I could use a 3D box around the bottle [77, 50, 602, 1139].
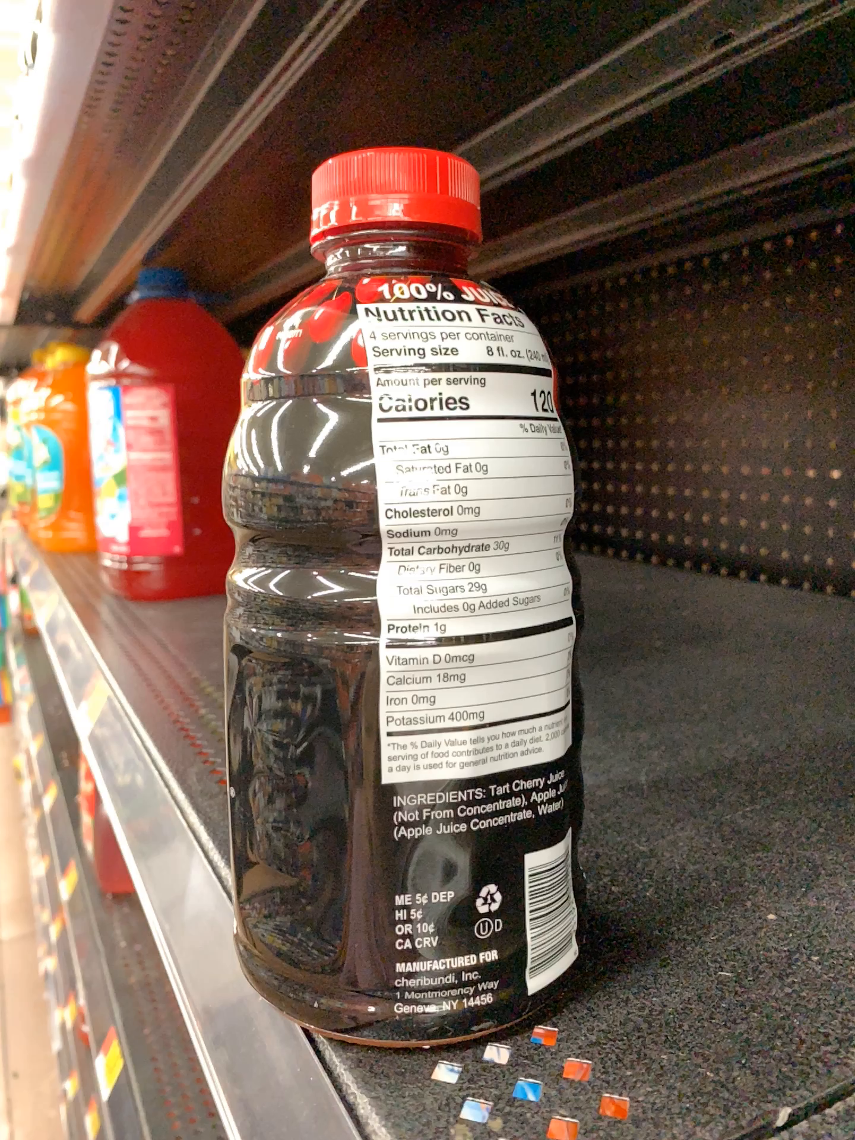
[{"bbox_3d":[-0.008,0.006,0.223,0.090,0.205,0.095,-2,9,0],"label":"bottle"}]
